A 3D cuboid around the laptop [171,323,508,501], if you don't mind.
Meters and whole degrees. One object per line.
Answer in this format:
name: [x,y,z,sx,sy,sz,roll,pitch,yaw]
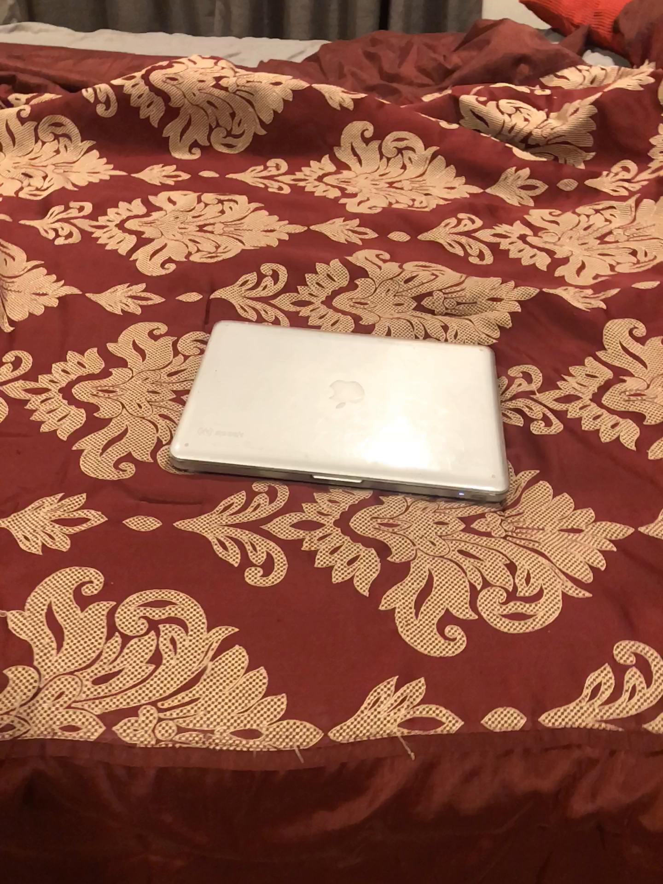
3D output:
laptop: [0.014,-0.040,0.734,0.304,0.015,0.208,5,44,3]
